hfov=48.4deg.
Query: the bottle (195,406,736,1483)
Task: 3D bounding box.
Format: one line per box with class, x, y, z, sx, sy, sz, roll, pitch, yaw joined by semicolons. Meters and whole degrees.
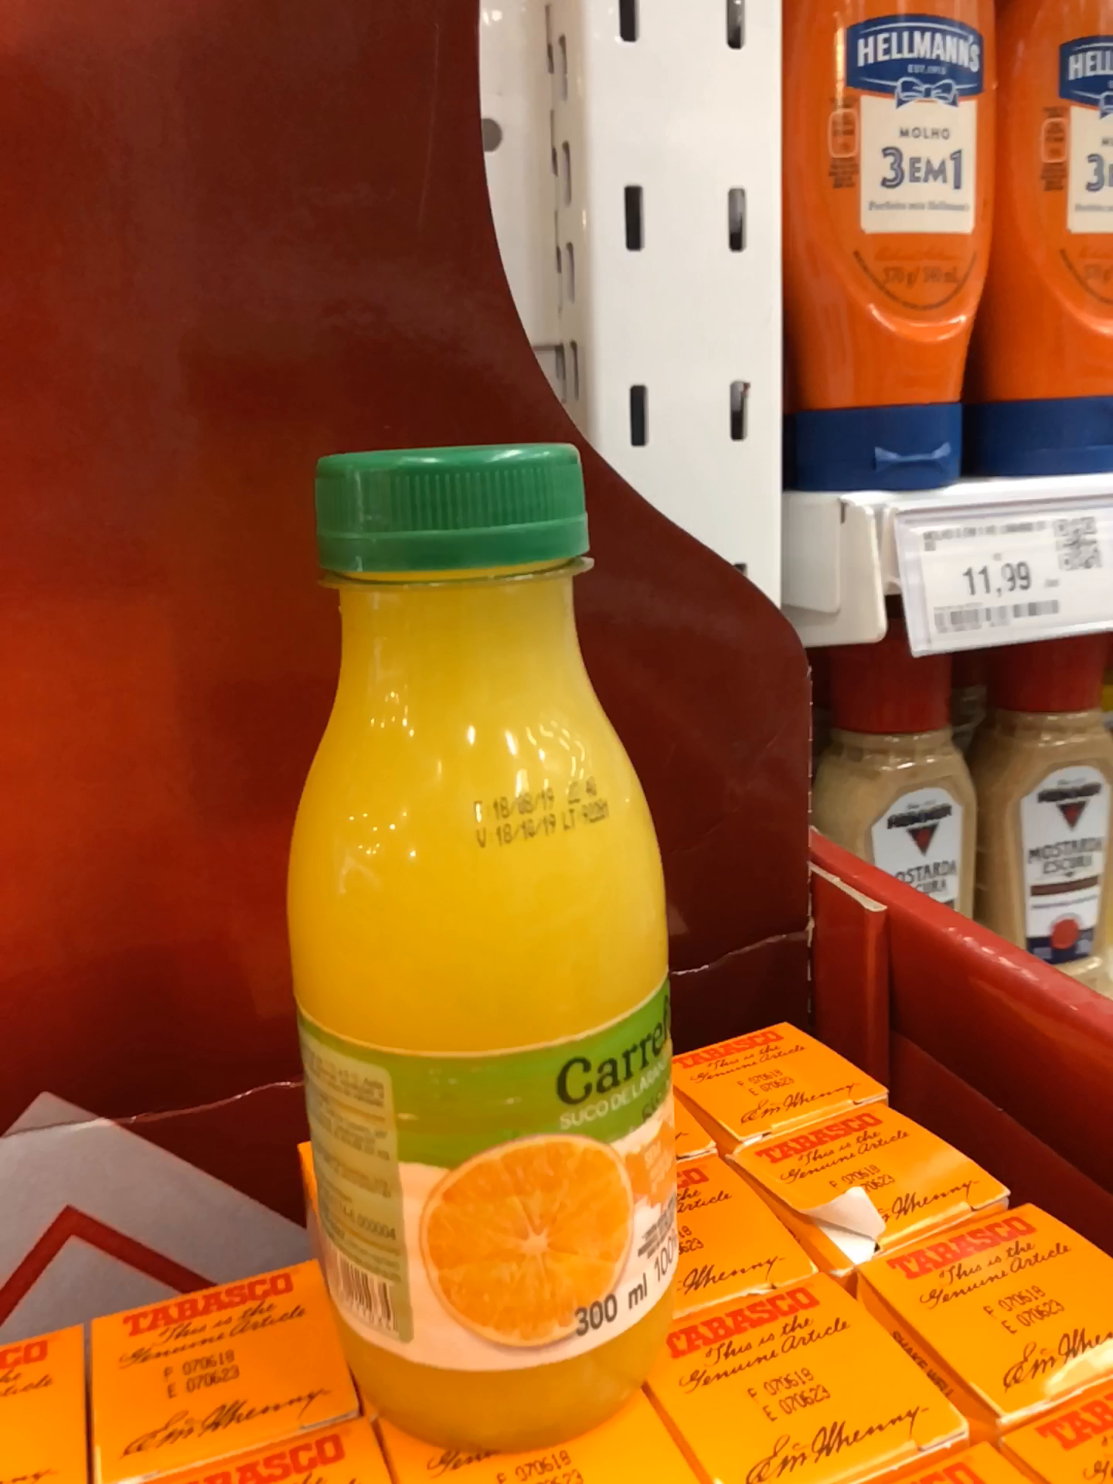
bottle;-0.008;0.026;0.196;0.050;0.149;0.060;4;15;30
